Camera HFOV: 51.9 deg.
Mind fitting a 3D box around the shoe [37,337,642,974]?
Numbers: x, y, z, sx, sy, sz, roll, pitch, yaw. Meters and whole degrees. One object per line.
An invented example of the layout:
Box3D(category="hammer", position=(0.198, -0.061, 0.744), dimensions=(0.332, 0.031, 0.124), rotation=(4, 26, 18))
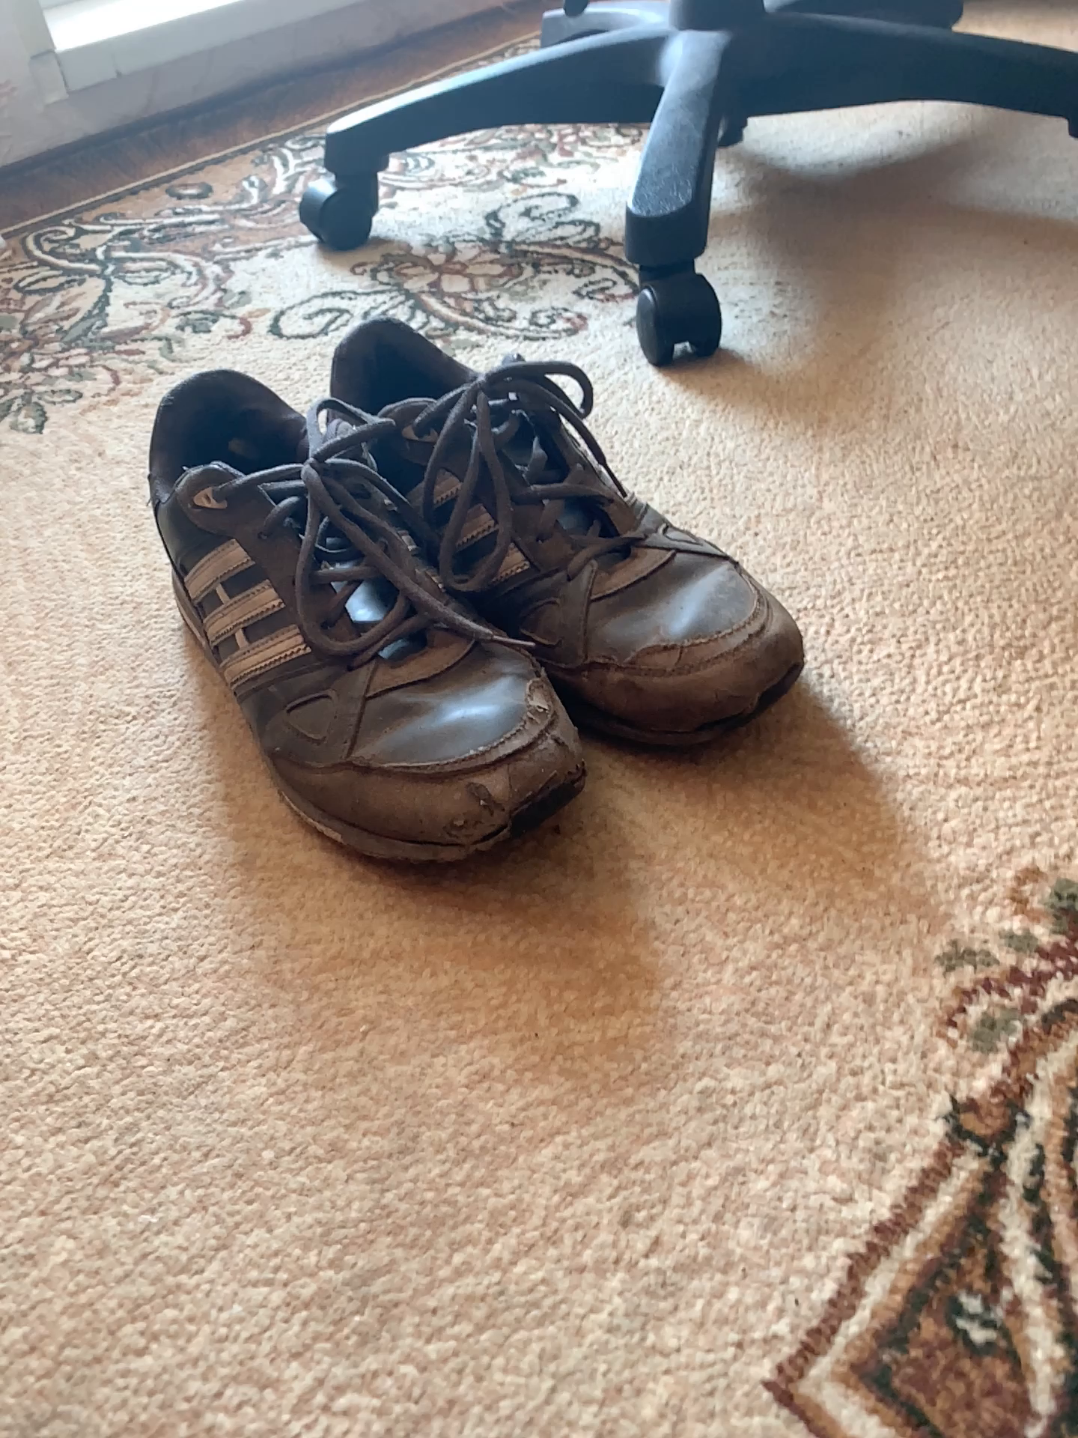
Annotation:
Box3D(category="shoe", position=(-0.100, -0.054, 0.481), dimensions=(0.116, 0.099, 0.314), rotation=(-29, 45, -20))

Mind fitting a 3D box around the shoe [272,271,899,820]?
Box3D(category="shoe", position=(0.003, -0.104, 0.522), dimensions=(0.120, 0.099, 0.312), rotation=(-29, 45, -20))
